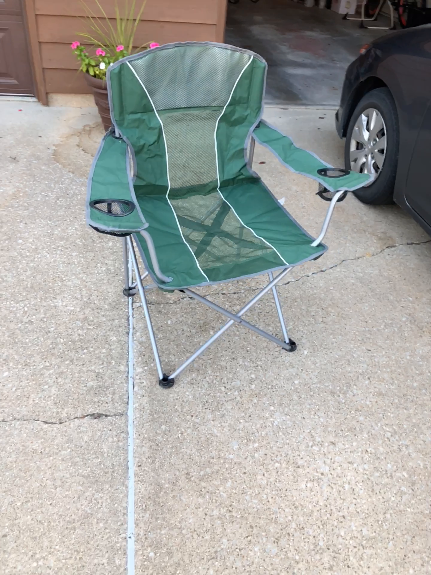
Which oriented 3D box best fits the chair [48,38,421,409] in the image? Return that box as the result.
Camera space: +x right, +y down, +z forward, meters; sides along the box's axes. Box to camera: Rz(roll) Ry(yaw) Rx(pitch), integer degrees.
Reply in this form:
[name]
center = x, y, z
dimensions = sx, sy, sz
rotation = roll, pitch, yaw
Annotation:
[chair]
center = -0.014, -0.248, 1.555
dimensions = 0.821, 0.907, 0.641
rotation = -11, 41, -20
